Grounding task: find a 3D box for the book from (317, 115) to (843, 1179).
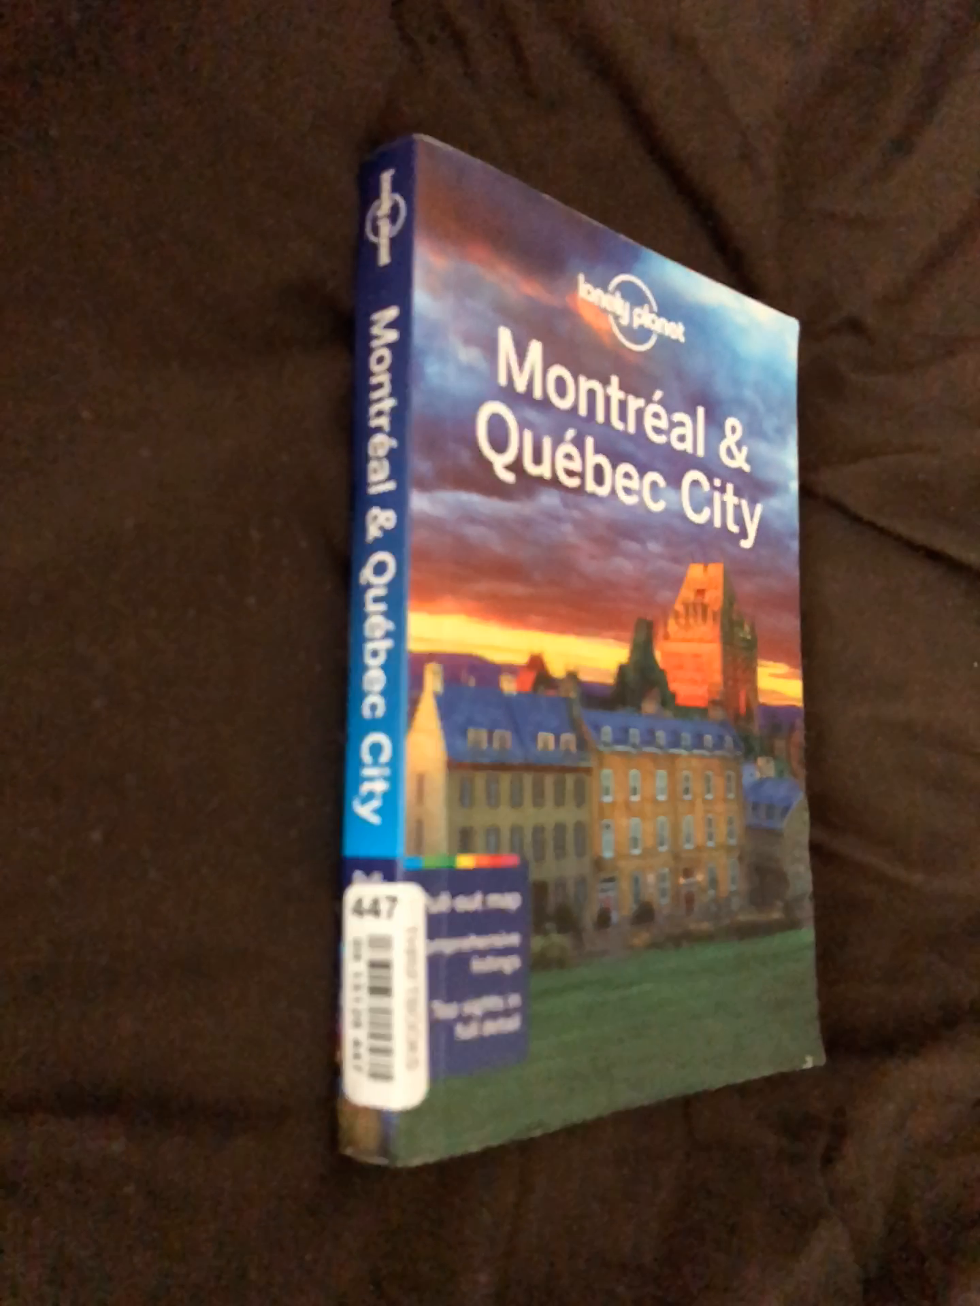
[{"bbox_3d":[0.030,0.000,0.256,0.138,0.023,0.205,7,80,-37],"label":"book"}]
